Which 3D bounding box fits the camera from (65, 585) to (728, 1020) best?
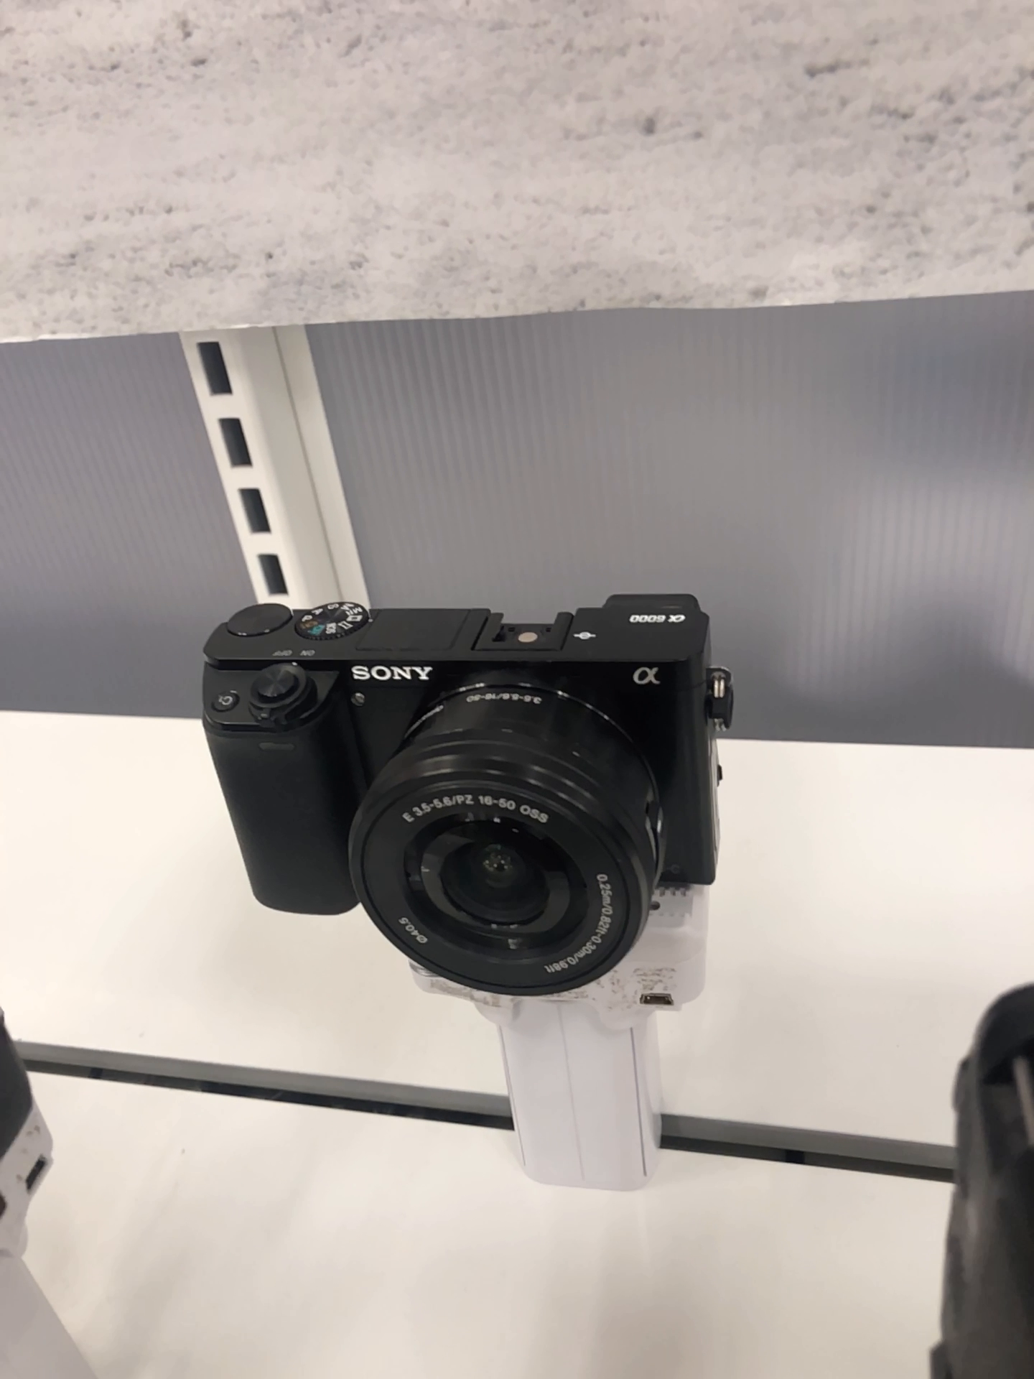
[{"bbox_3d":[-0.018,0.020,0.247,0.120,0.058,0.068,1,35,13],"label":"camera"}]
